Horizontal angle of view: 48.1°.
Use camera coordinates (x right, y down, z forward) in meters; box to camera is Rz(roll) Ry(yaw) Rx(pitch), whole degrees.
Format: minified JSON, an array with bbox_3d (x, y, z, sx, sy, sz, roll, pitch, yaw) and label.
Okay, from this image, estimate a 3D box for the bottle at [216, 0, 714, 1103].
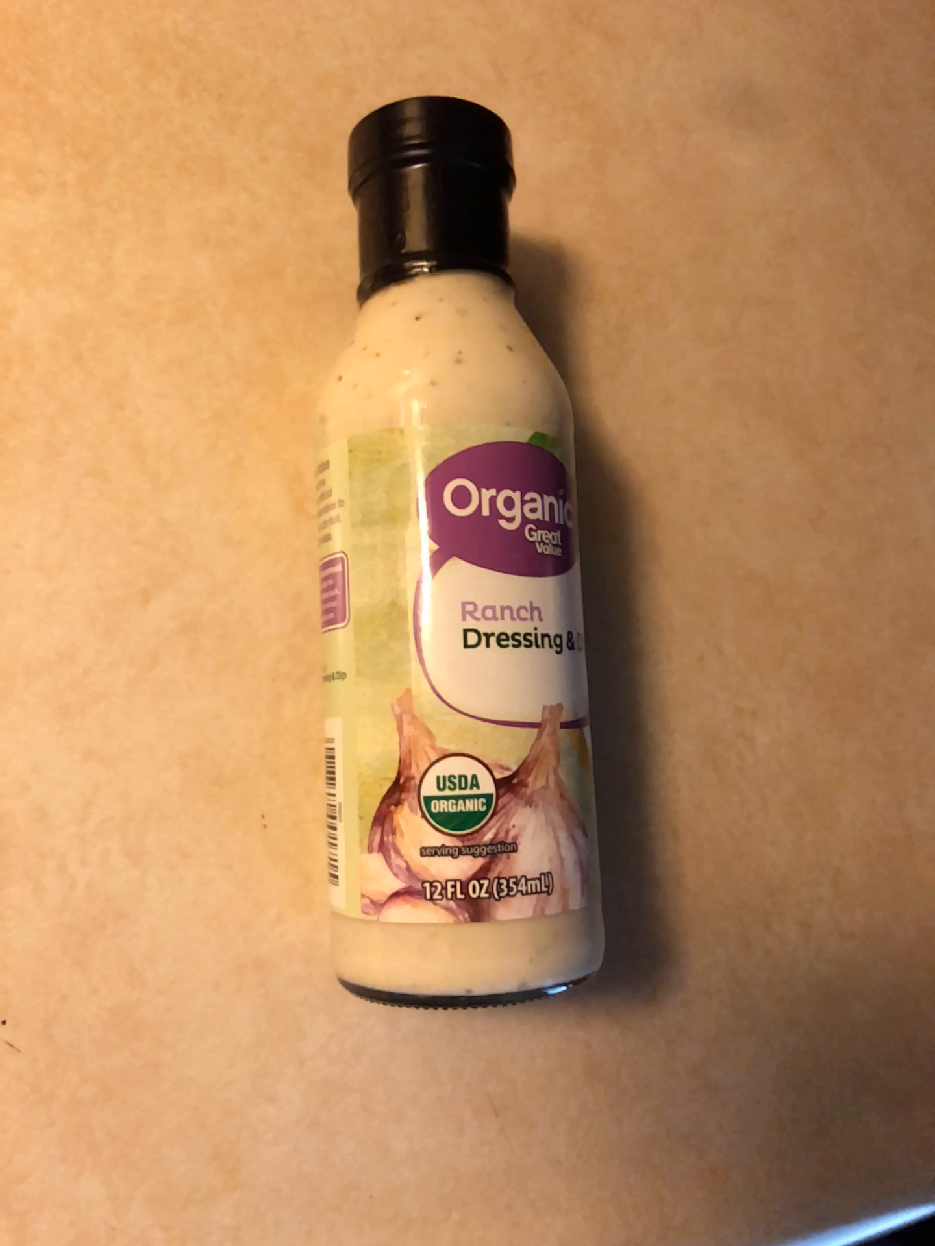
[{"bbox_3d":[-0.005,-0.026,0.238,0.070,0.060,0.230,1,79,-36],"label":"bottle"}]
